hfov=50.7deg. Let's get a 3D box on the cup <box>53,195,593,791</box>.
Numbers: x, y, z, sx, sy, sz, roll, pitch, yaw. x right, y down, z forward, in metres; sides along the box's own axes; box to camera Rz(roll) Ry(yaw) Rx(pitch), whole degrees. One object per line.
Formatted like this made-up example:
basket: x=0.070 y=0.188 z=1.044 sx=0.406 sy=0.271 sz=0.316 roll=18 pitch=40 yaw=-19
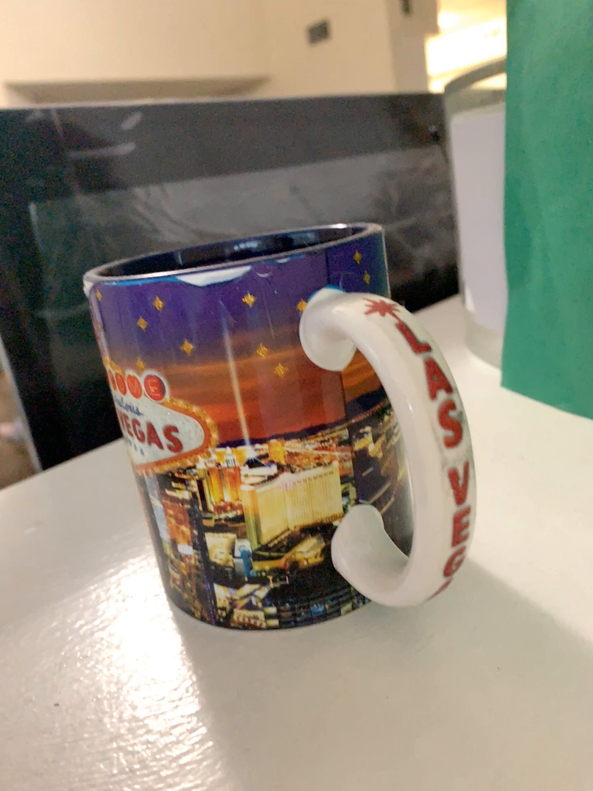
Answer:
cup: x=-0.001 y=0.008 z=0.170 sx=0.080 sy=0.100 sz=0.120 roll=-19 pitch=20 yaw=-26
